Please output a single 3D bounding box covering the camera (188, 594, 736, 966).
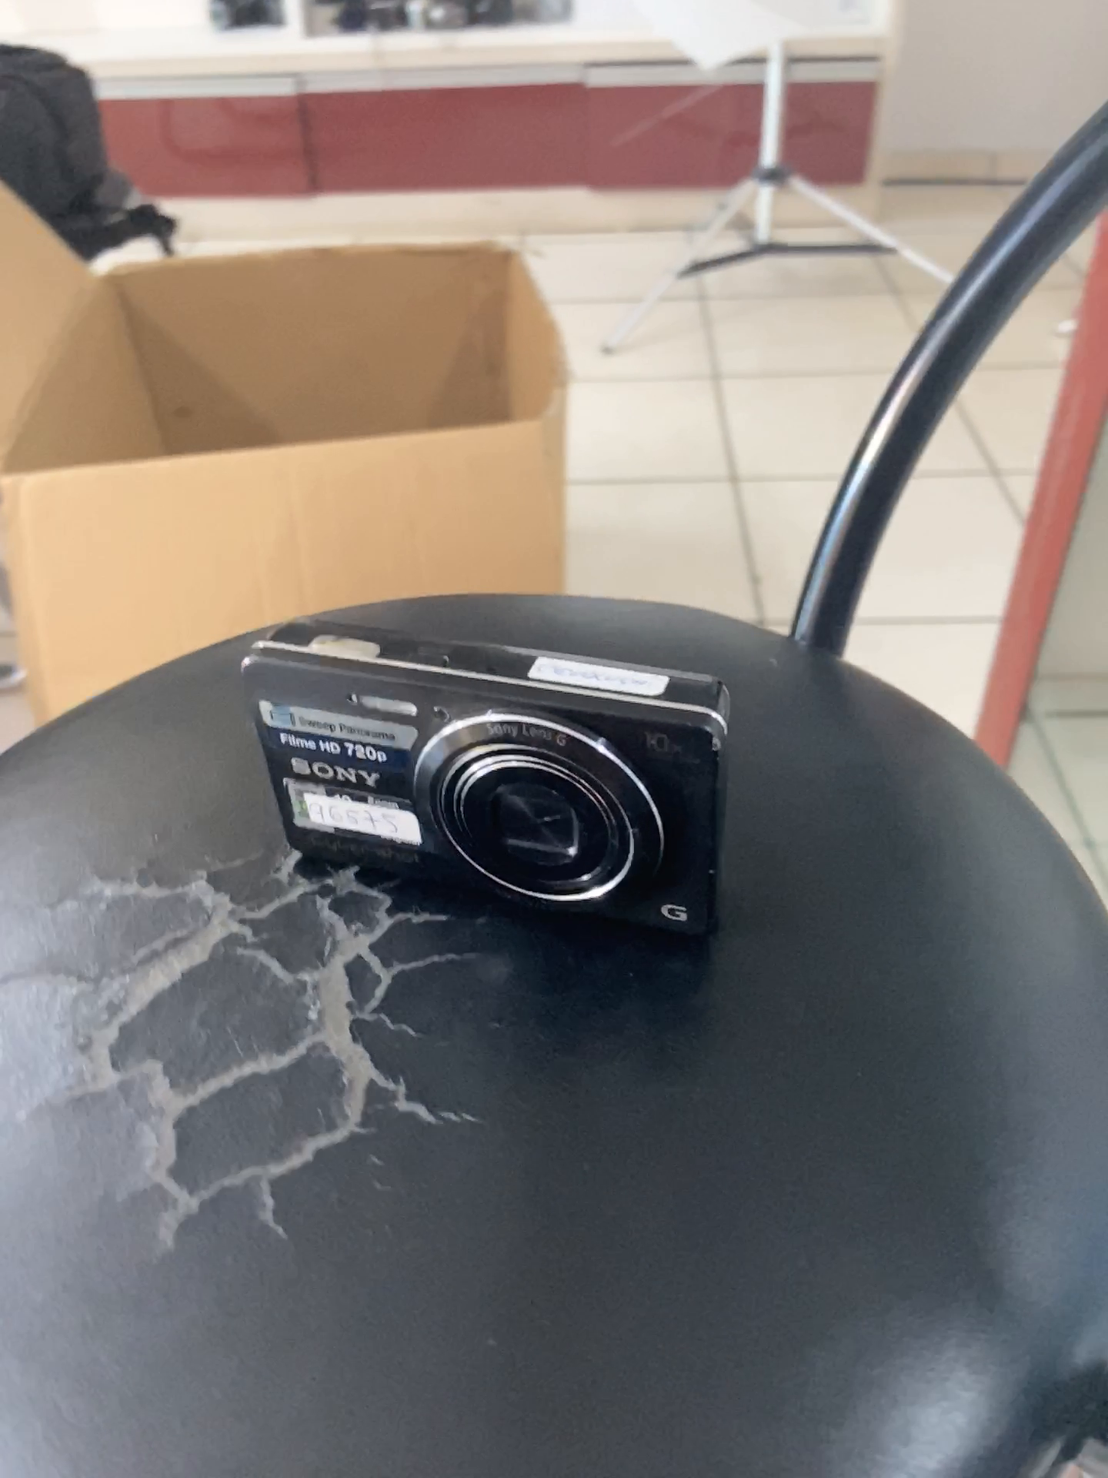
[{"bbox_3d":[-0.017,0.007,0.222,0.096,0.051,0.024,11,41,16],"label":"camera"}]
